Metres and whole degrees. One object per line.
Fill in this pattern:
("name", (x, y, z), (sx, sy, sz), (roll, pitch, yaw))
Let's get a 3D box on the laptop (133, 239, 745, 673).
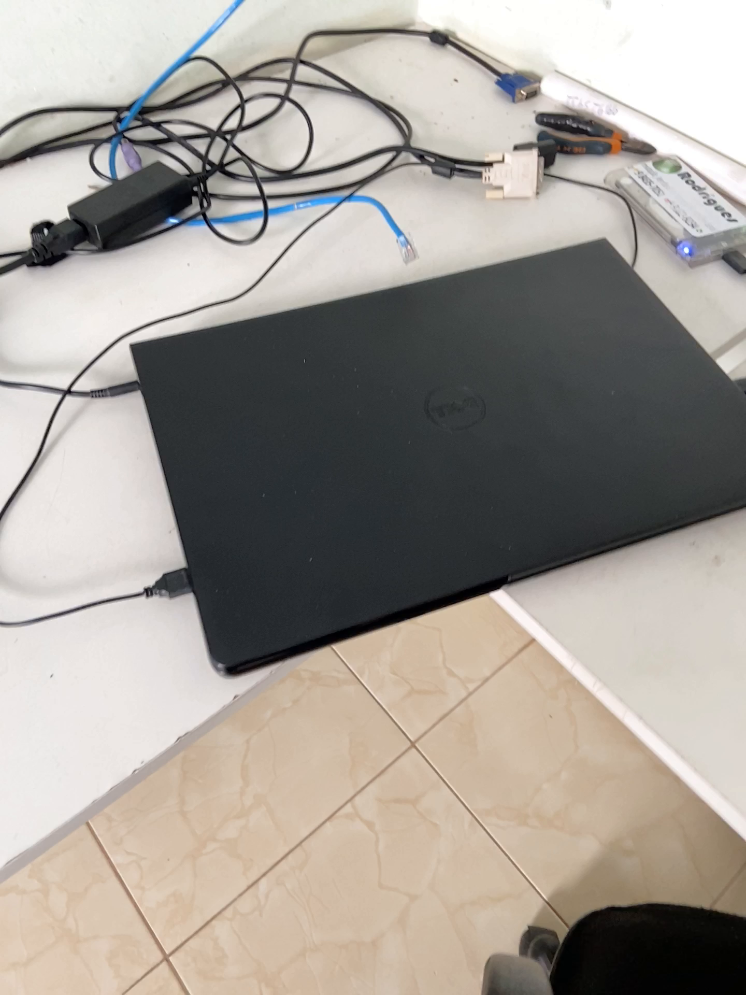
("laptop", (0.052, -0.061, 0.505), (0.376, 0.003, 0.260), (-16, 54, -14))
